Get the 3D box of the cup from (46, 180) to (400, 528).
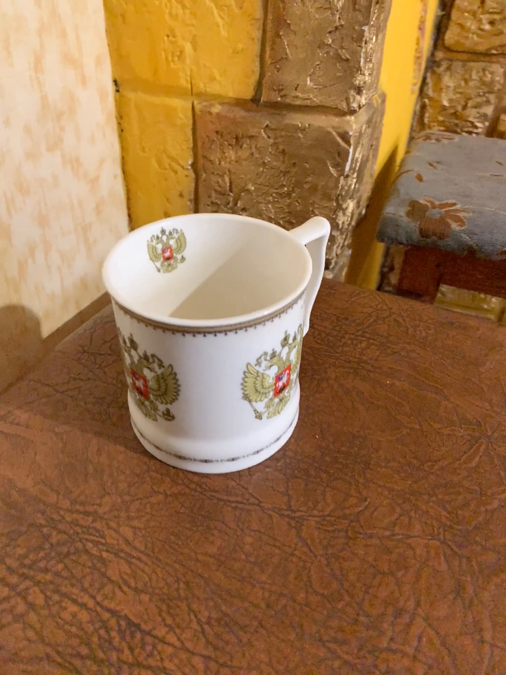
[{"bbox_3d":[-0.011,-0.004,0.265,0.100,0.097,0.127,30,44,32],"label":"cup"}]
